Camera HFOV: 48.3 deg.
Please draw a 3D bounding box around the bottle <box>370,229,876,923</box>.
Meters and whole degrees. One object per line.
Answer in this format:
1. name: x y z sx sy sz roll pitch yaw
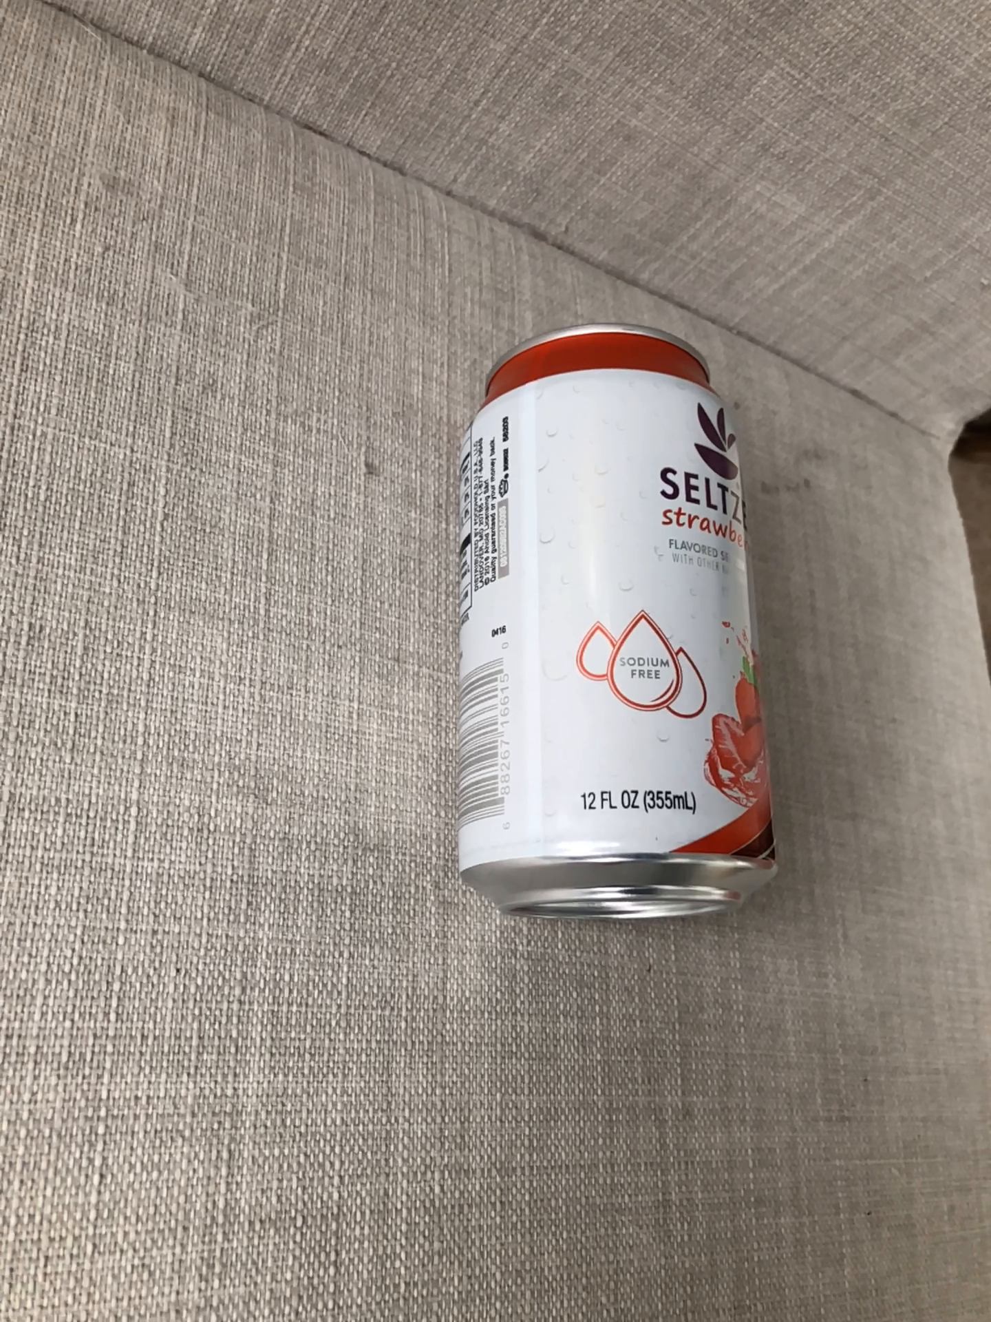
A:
1. bottle: 0.024 -0.009 0.234 0.070 0.069 0.120 12 70 -35
